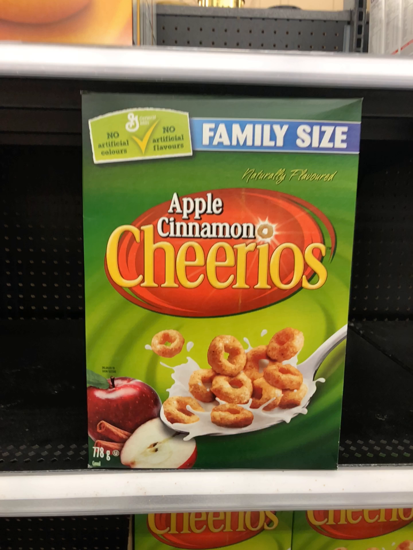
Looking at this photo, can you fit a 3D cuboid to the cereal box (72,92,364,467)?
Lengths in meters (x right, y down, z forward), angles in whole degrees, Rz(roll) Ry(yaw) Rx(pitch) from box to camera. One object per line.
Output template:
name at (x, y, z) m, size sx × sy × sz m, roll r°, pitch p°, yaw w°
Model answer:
cereal box at (0.007, 0.008, 0.438) m, size 0.240 × 0.329 × 0.080 m, roll 1°, pitch 8°, yaw -1°
